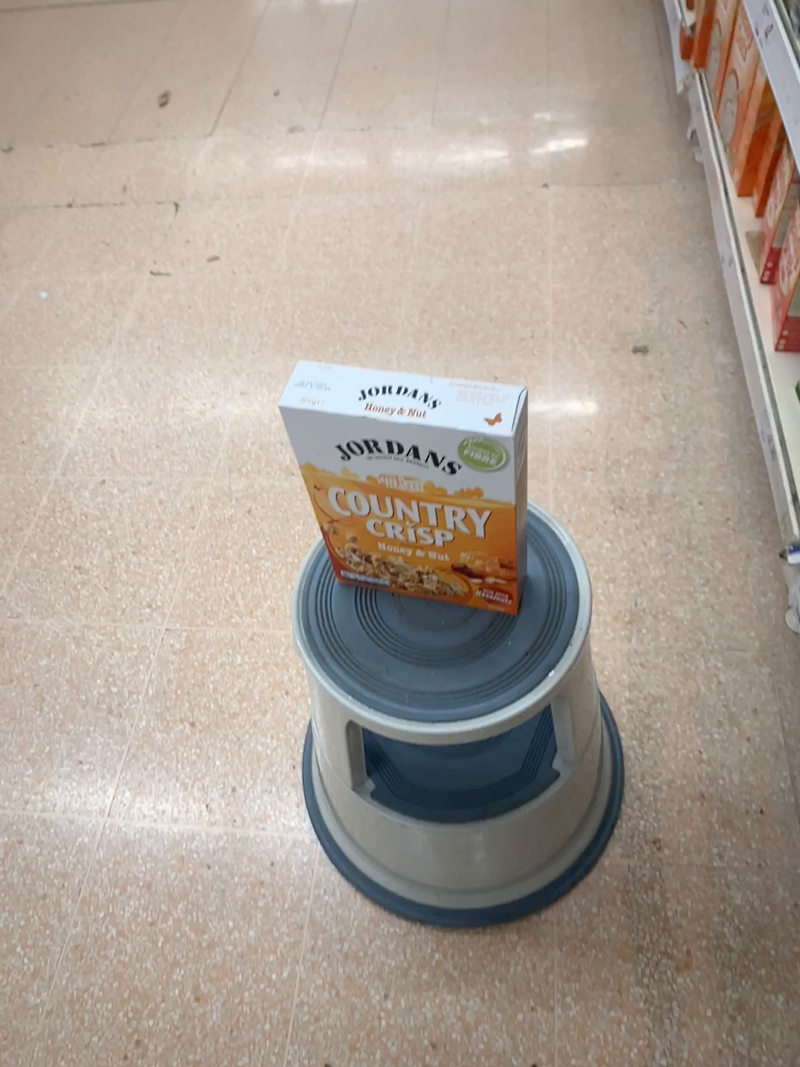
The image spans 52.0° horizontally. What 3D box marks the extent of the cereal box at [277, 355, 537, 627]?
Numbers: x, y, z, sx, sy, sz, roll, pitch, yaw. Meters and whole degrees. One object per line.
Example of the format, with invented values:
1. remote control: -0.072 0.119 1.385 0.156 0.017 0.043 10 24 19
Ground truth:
1. cereal box: 0.017 -0.025 0.691 0.180 0.258 0.050 10 56 14
